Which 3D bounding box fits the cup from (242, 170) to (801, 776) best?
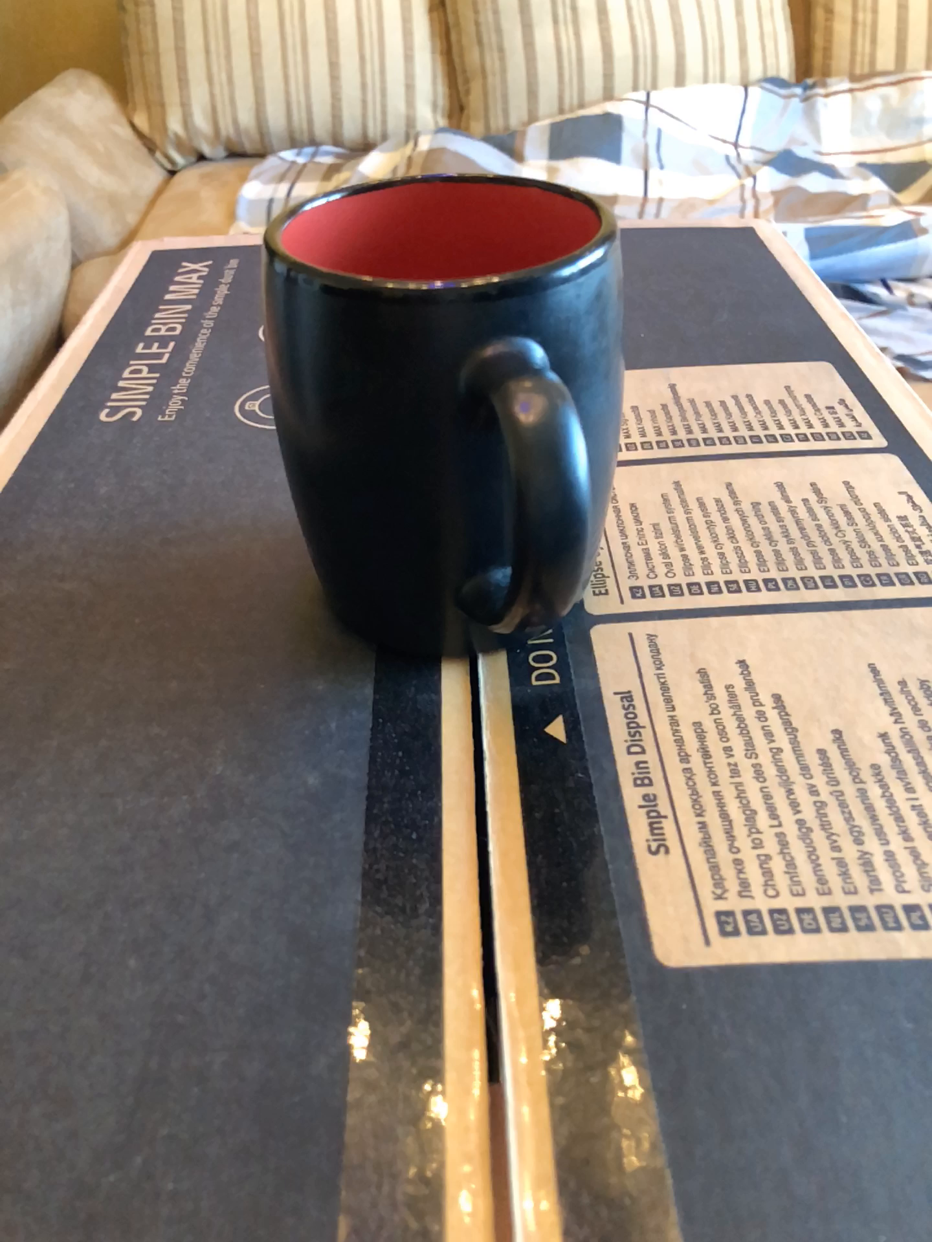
[{"bbox_3d":[0.003,-0.045,0.254,0.090,0.090,0.121,-10,39,-12],"label":"cup"}]
